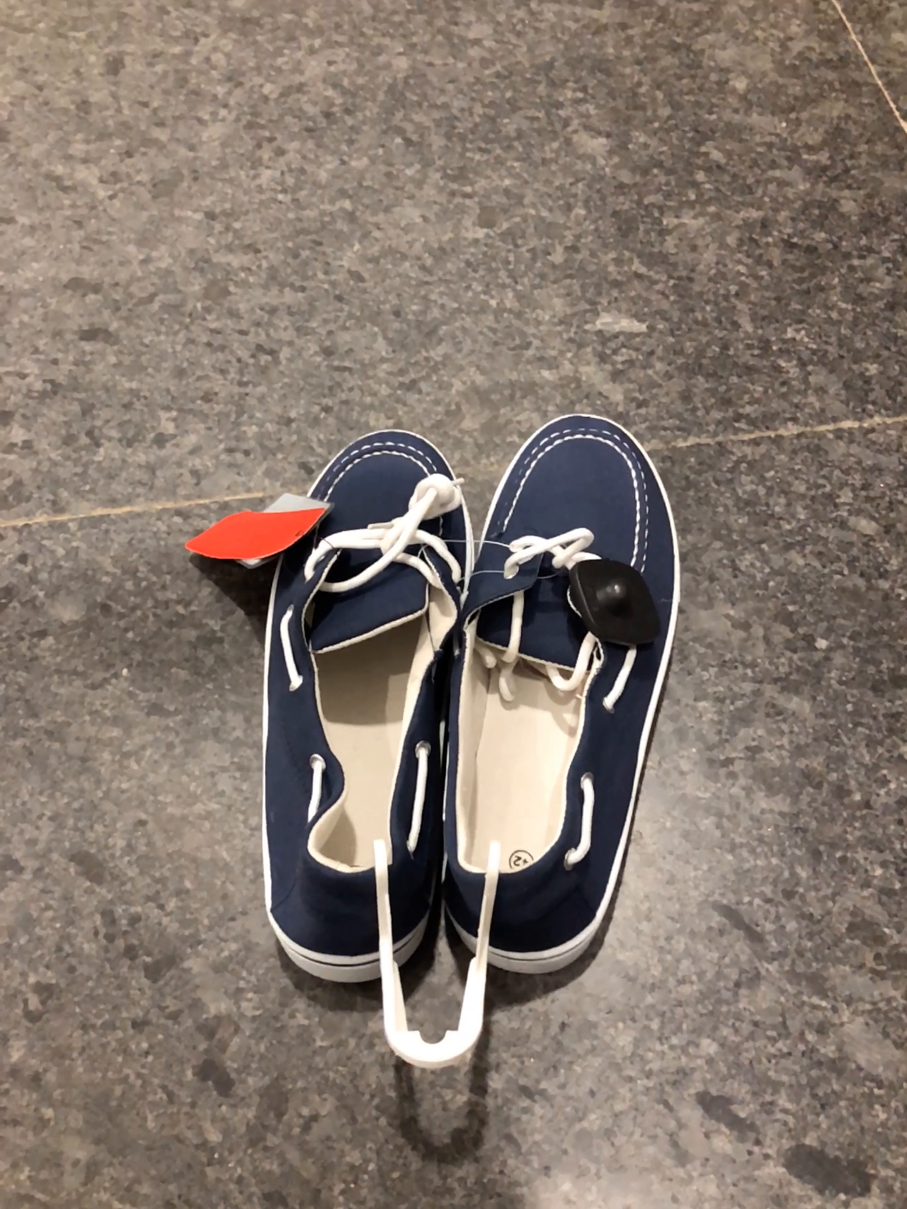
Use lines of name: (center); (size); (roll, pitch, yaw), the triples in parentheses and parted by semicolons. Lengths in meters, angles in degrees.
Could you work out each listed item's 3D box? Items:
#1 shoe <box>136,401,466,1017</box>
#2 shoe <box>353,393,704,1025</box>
shoe: (-0.051, 0.042, 0.455); (0.096, 0.115, 0.249); (3, 58, 3)
shoe: (0.042, 0.041, 0.455); (0.096, 0.115, 0.247); (11, 59, 8)
